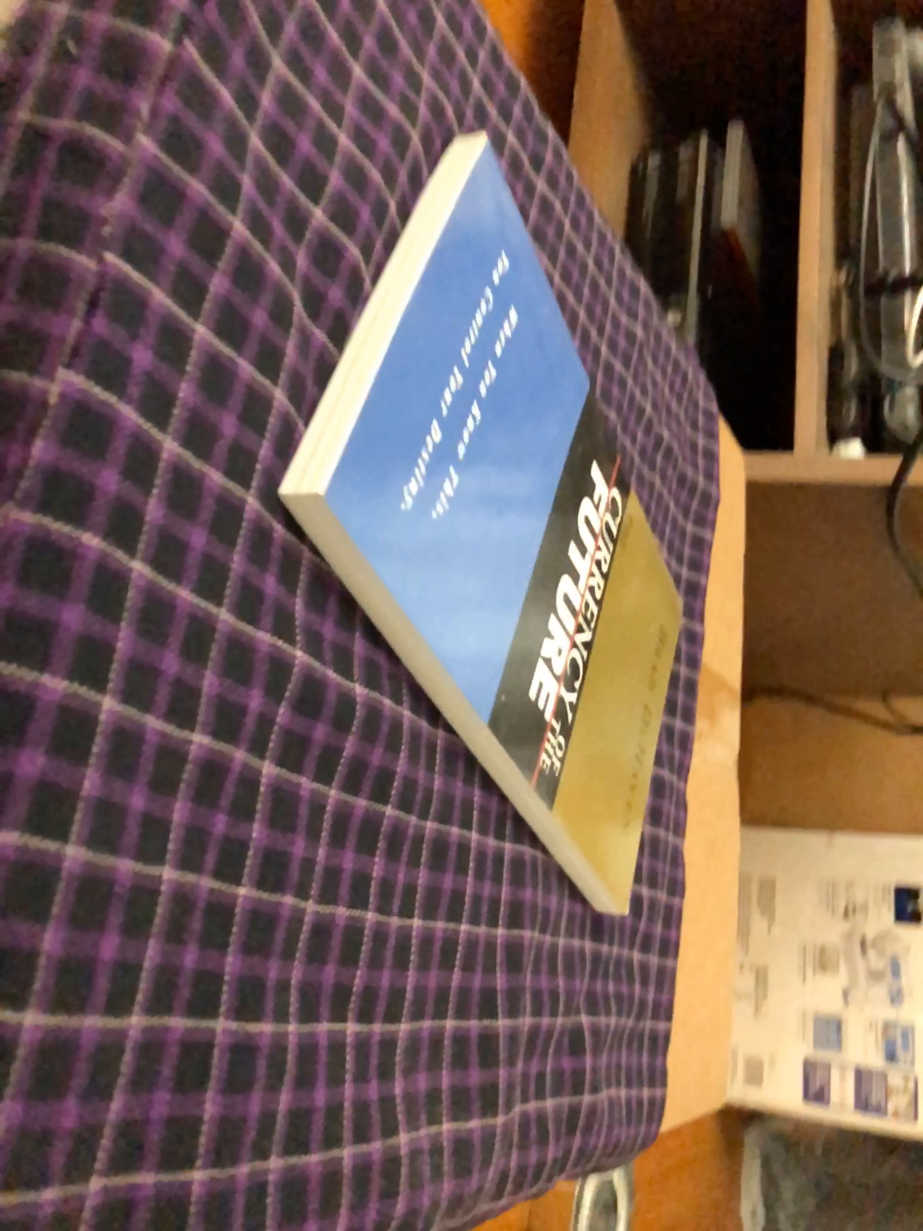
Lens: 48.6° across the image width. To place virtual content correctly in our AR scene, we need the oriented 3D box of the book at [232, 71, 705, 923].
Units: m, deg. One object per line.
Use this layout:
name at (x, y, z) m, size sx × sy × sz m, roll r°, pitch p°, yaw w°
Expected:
book at (0.028, -0.022, 0.317) m, size 0.221 × 0.020 × 0.150 m, roll 55°, pitch 41°, yaw -43°
